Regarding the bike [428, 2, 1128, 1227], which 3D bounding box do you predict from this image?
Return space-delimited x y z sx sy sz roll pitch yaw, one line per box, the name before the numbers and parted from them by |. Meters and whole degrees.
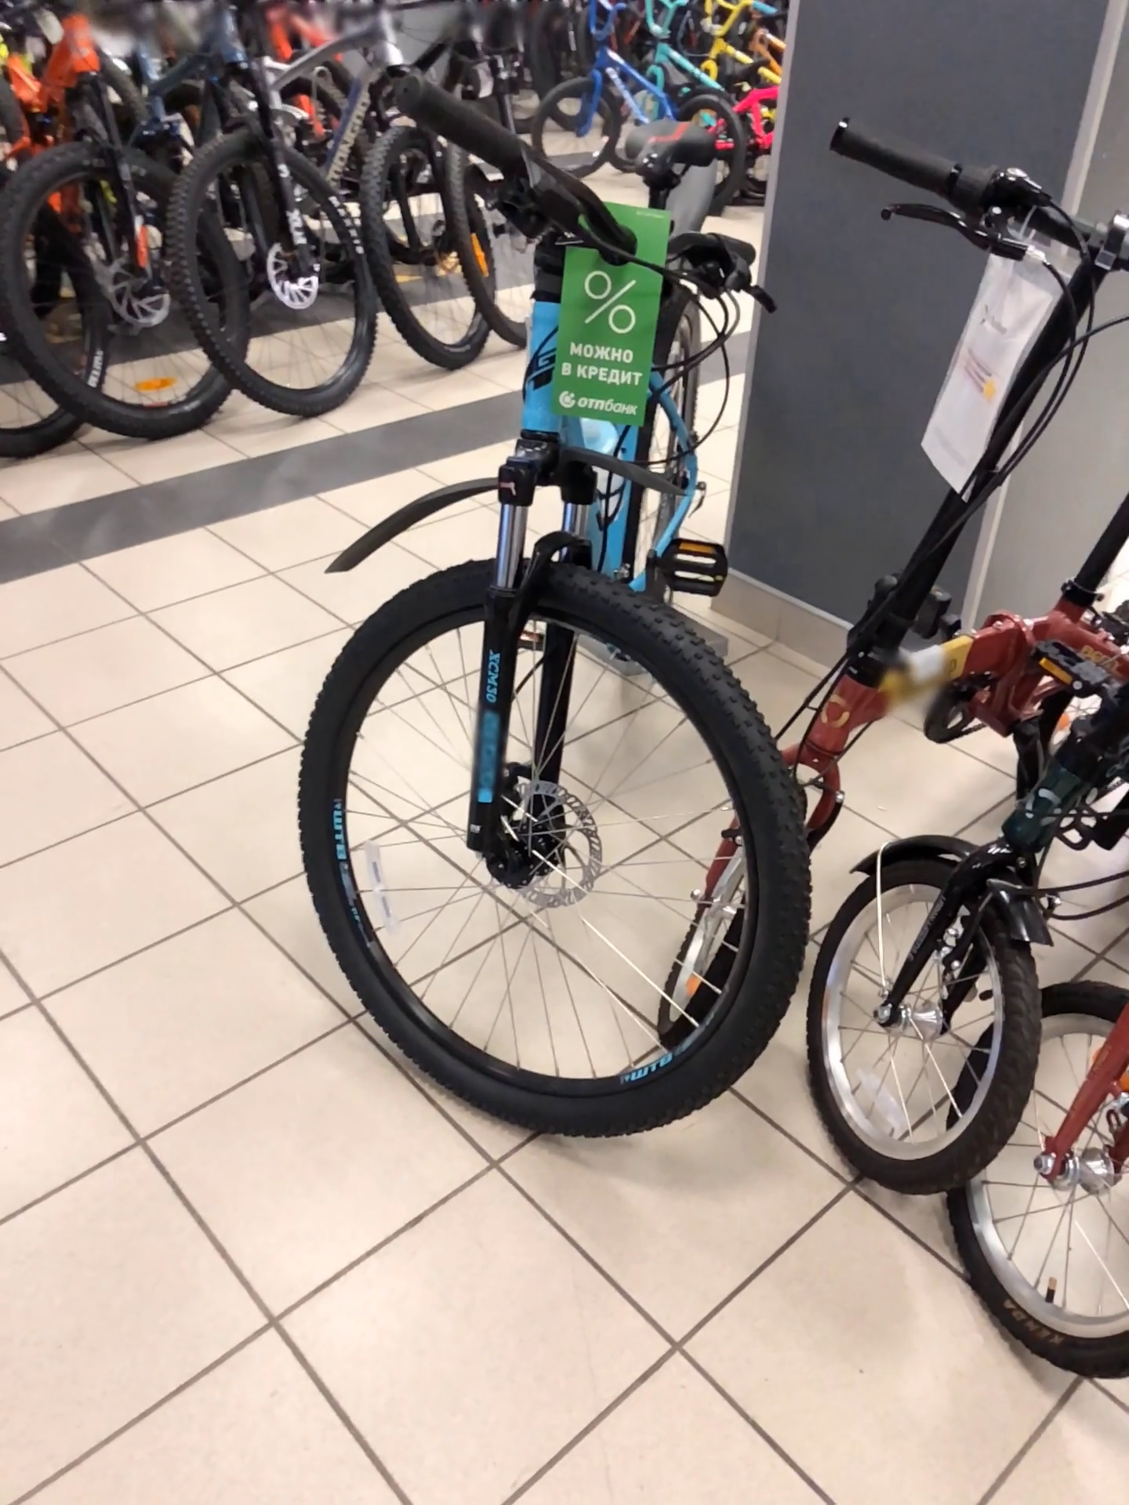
bike | 0.219 -0.400 1.853 0.691 1.084 1.620 2 35 0
